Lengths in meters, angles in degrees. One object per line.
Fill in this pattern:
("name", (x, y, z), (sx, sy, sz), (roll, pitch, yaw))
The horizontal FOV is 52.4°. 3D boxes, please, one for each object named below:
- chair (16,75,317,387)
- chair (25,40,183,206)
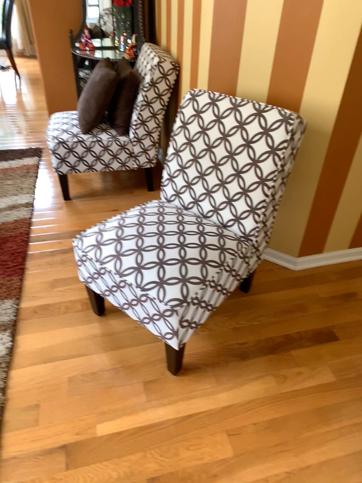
("chair", (-0.028, -0.116, 1.393), (0.623, 0.774, 0.739), (28, 43, 33))
("chair", (-0.460, -0.779, 2.360), (0.796, 0.833, 0.596), (-7, 36, -12))
